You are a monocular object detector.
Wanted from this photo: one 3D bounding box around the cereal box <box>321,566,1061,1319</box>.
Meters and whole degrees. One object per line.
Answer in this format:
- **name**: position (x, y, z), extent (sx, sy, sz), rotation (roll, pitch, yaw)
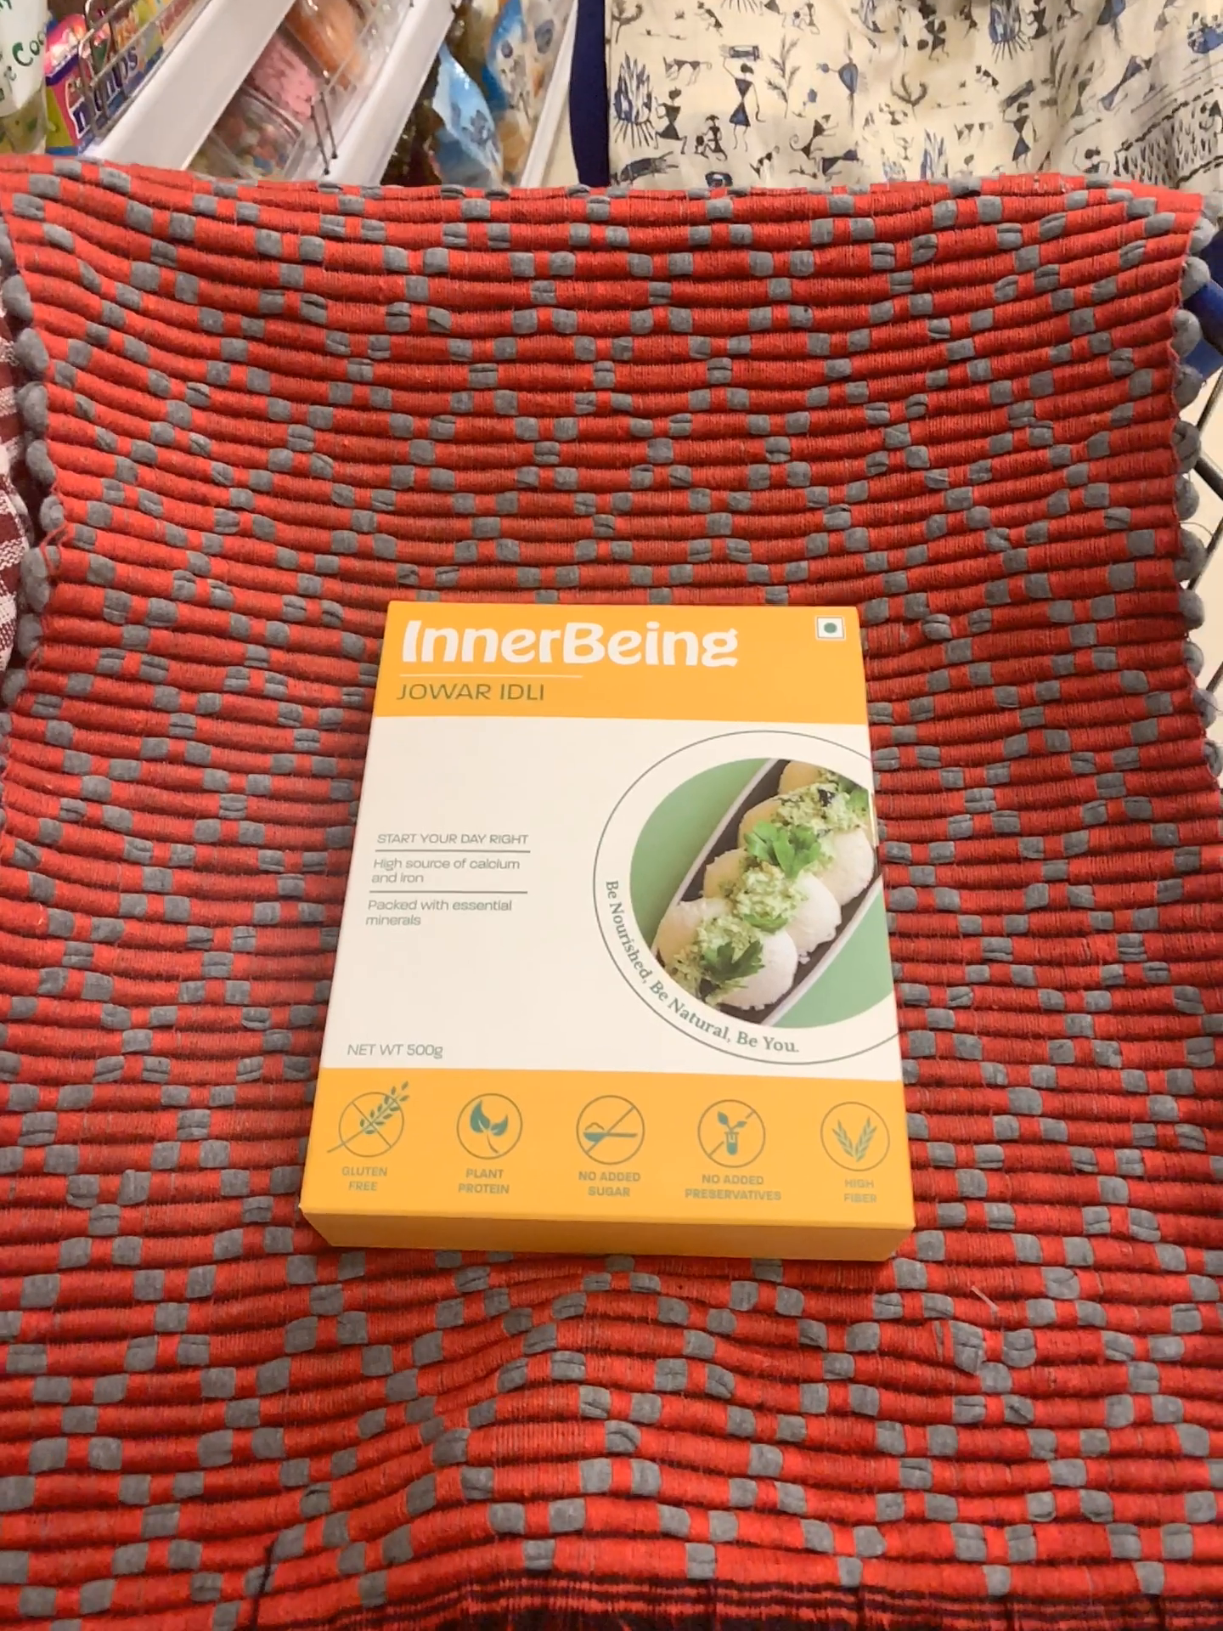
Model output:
- **cereal box**: position (0.017, 0.026, 0.339), extent (0.150, 0.070, 0.191), rotation (1, 54, 0)
